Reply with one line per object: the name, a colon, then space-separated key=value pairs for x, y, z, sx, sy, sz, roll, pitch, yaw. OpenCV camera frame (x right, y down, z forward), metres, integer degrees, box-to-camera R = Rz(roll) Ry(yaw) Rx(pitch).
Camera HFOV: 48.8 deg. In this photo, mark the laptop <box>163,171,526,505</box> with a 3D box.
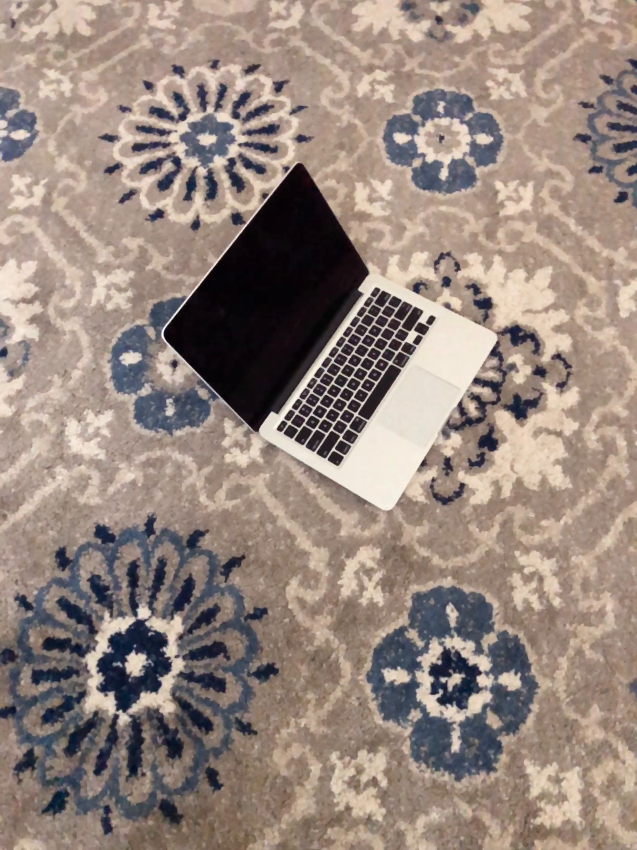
laptop: x=0.036 y=-0.117 z=0.924 sx=0.322 sy=0.171 sz=0.300 roll=29 pitch=71 yaw=15
